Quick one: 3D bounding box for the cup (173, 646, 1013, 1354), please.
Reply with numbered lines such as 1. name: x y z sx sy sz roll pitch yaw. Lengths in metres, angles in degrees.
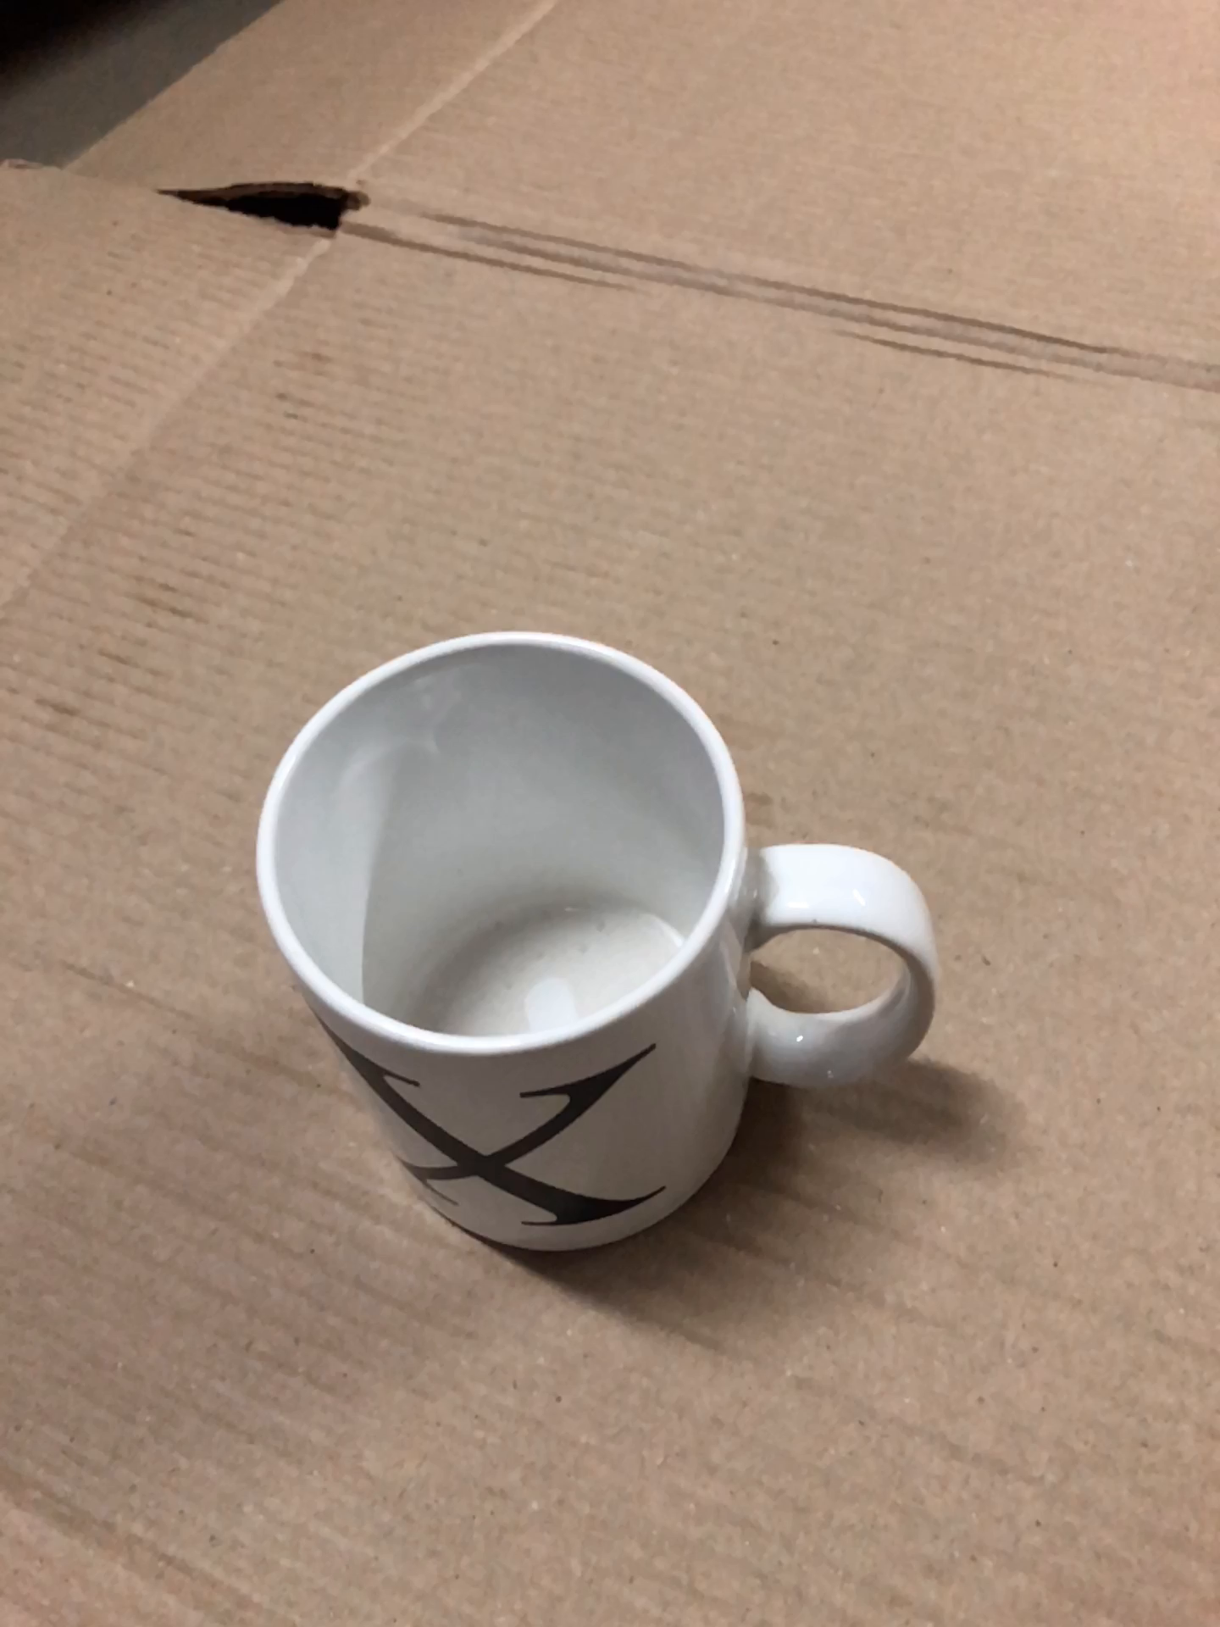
1. cup: 0.003 0.033 0.236 0.110 0.090 0.080 3 51 7
